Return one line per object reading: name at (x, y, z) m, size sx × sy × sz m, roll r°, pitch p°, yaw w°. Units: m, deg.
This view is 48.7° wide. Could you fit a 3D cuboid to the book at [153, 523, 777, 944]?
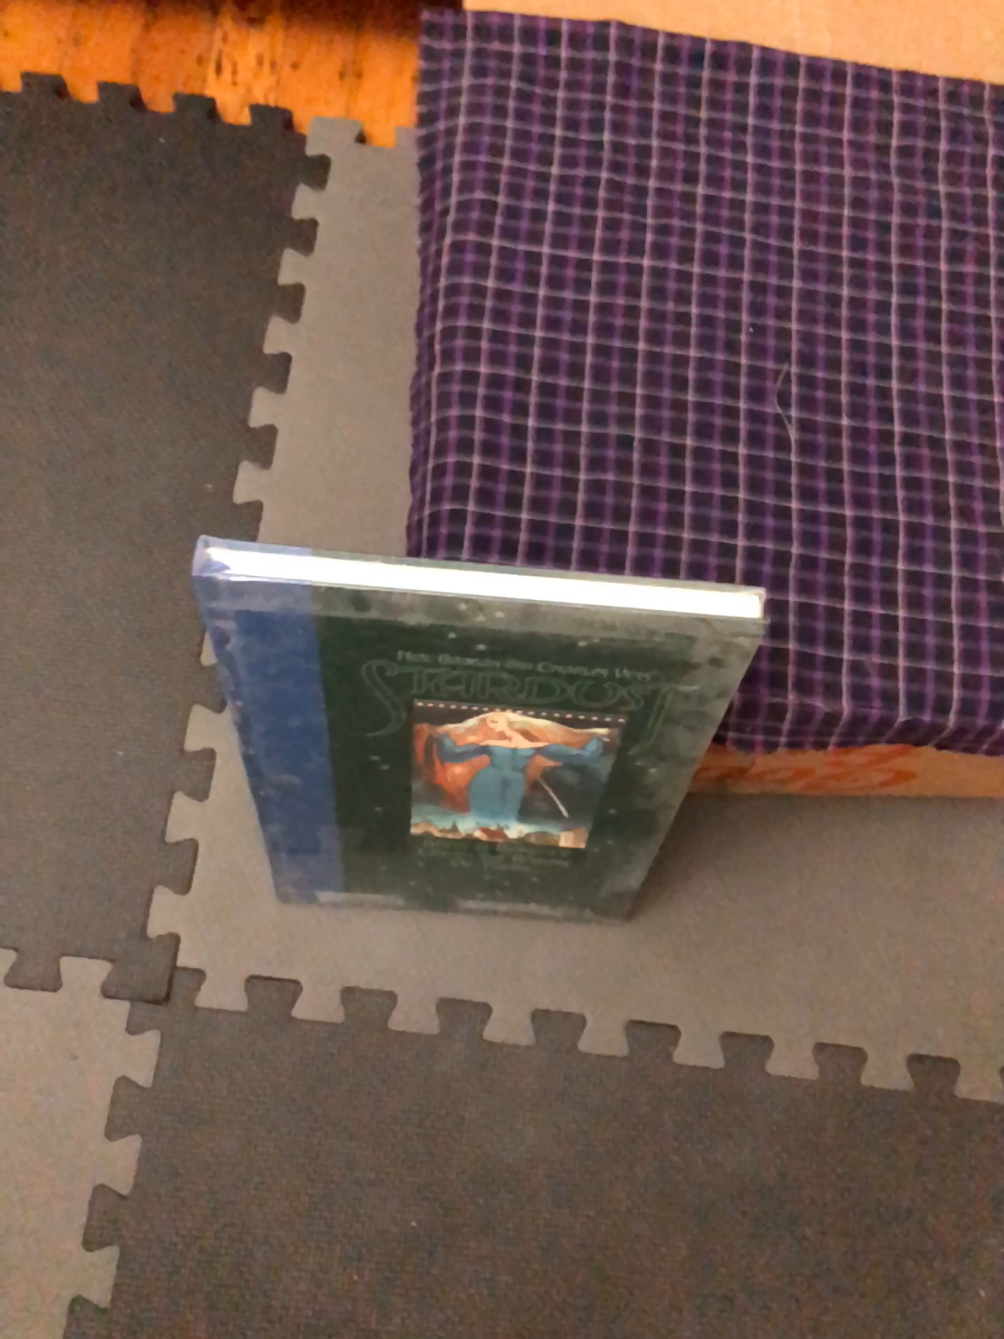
book at (-0.021, 0.055, 0.516) m, size 0.210 × 0.329 × 0.020 m, roll 4°, pitch 57°, yaw -1°
